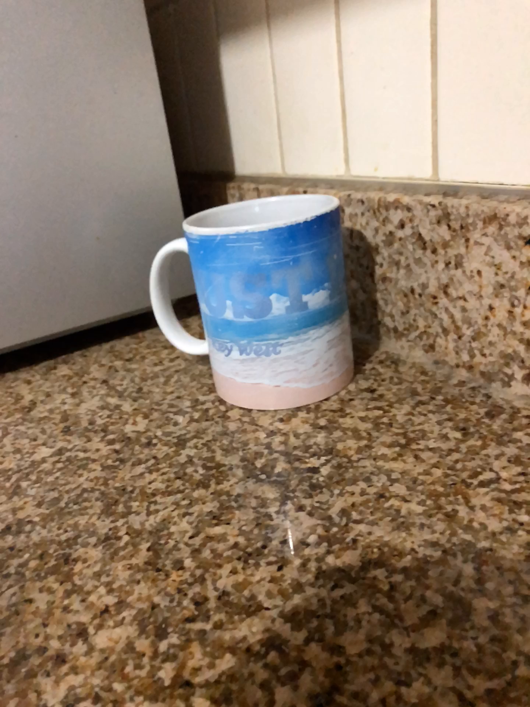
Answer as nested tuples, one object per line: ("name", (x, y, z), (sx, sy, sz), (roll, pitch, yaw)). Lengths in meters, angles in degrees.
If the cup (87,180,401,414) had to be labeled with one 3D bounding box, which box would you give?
("cup", (-0.005, -0.036, 0.318), (0.130, 0.090, 0.090), (4, 24, 27))
